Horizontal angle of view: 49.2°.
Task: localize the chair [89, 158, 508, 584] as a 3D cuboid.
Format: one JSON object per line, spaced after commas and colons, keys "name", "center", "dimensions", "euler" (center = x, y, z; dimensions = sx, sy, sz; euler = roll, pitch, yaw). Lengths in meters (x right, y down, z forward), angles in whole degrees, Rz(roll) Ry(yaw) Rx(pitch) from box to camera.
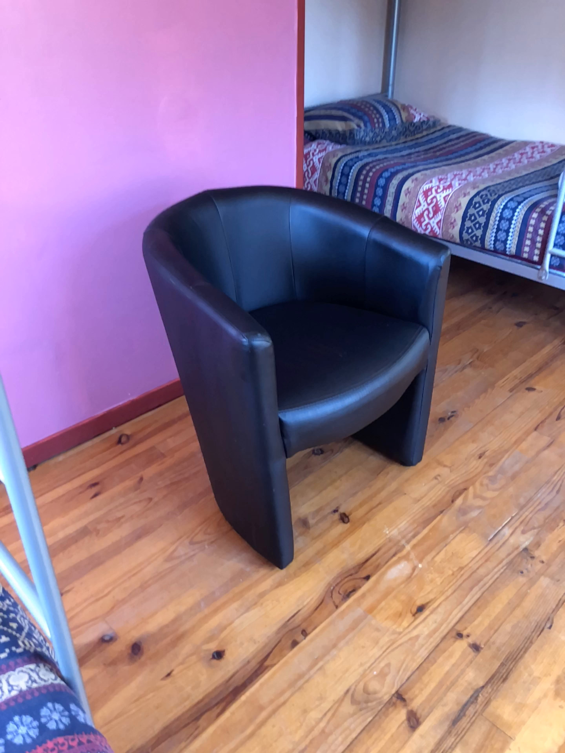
{"name": "chair", "center": [0.041, -0.083, 1.486], "dimensions": [0.673, 0.646, 0.591], "euler": [-28, 42, -36]}
